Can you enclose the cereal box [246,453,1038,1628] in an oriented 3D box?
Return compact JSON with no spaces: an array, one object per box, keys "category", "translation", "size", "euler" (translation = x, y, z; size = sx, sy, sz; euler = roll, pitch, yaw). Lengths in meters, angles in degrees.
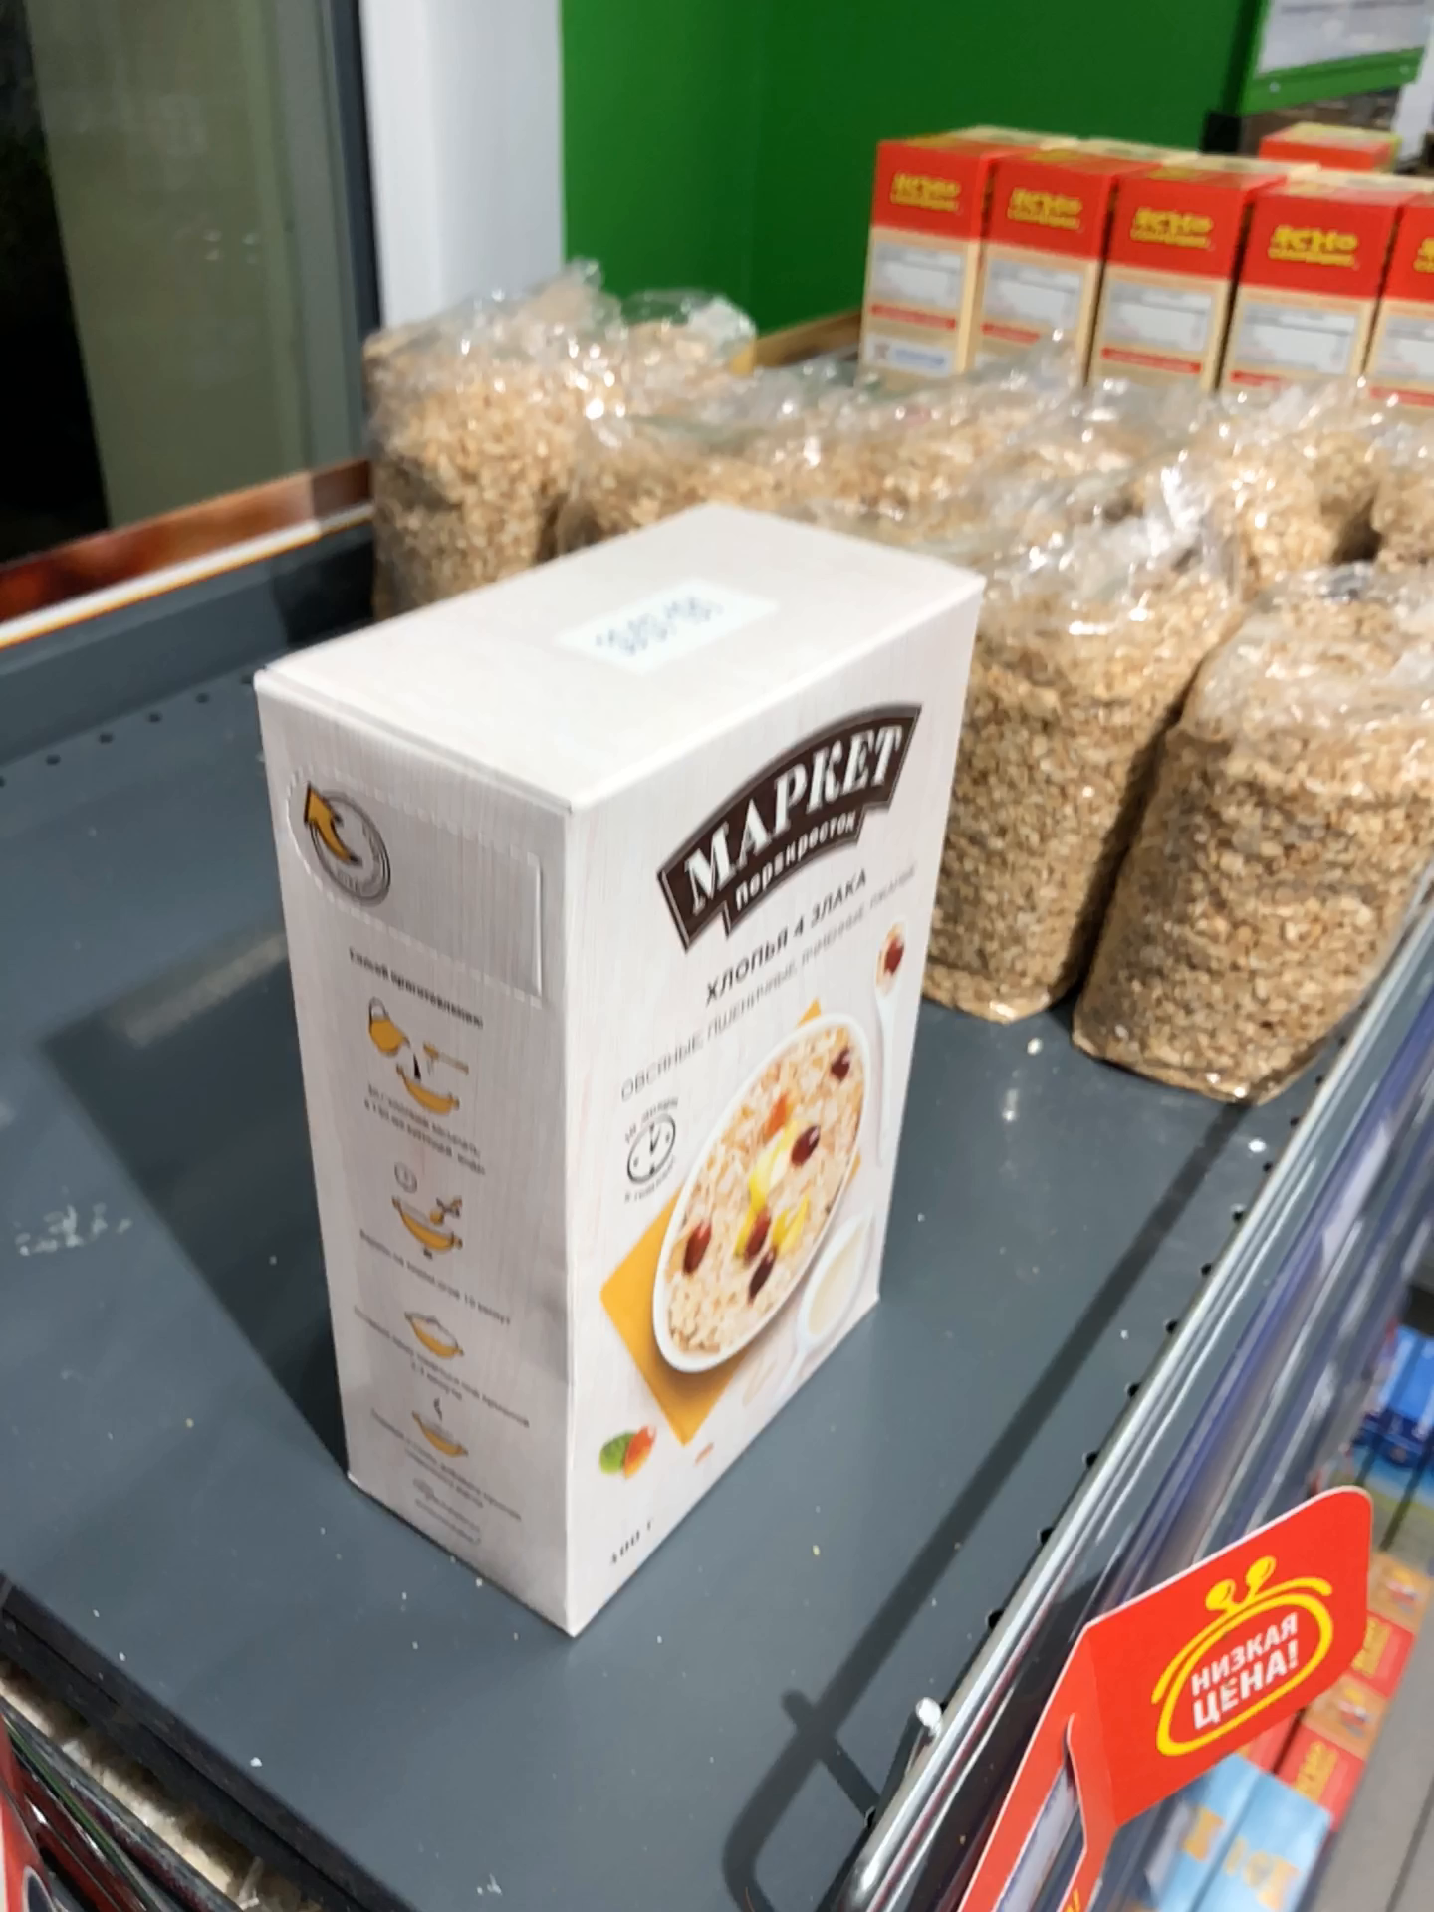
[{"category":"cereal box","translation":[-0.010,0.013,0.325],"size":[0.070,0.189,0.131],"euler":[23,38,28]}]
